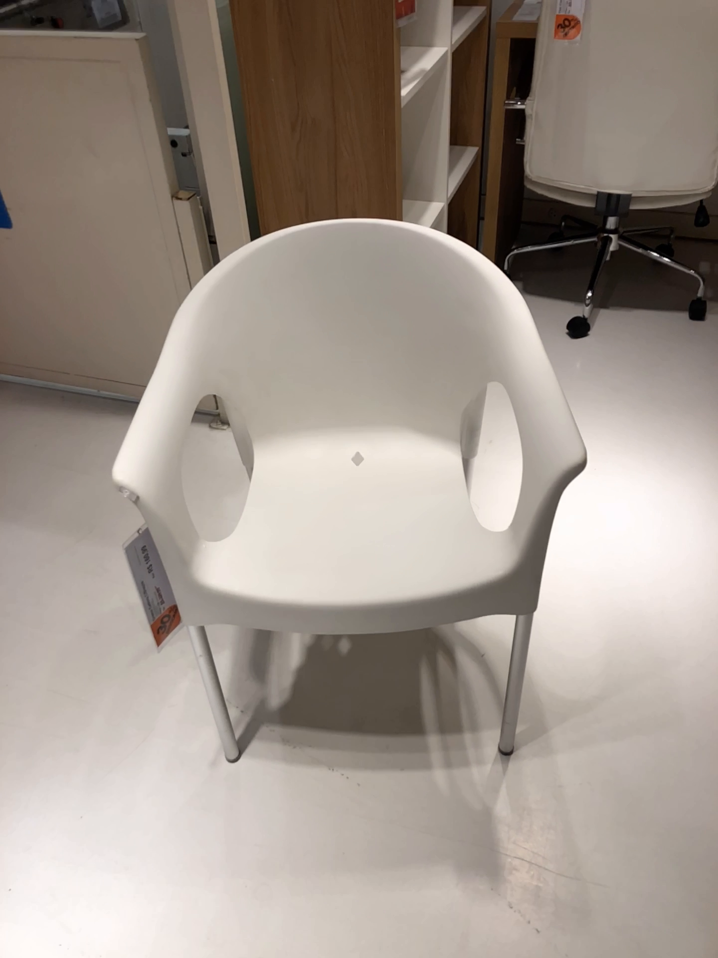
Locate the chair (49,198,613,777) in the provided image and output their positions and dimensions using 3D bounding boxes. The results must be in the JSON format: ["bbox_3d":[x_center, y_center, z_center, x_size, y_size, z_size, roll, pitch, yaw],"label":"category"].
[{"bbox_3d":[-0.008,0.023,1.319,0.610,0.735,0.614,-1,41,3],"label":"chair"}]
